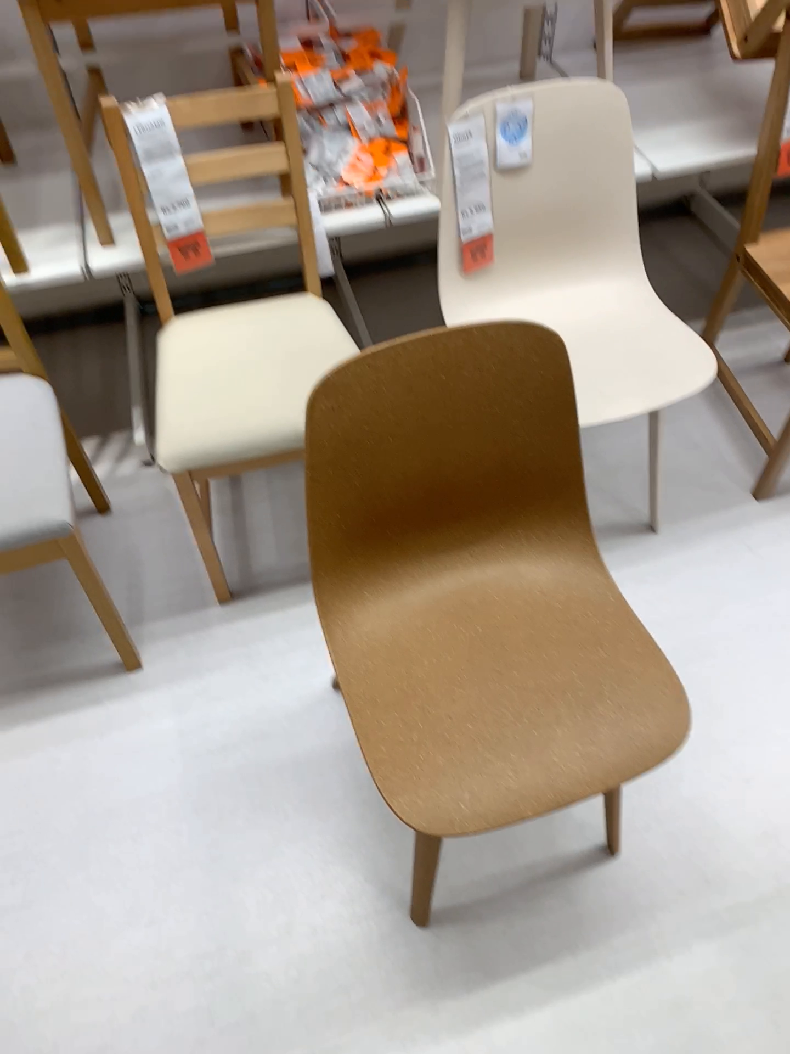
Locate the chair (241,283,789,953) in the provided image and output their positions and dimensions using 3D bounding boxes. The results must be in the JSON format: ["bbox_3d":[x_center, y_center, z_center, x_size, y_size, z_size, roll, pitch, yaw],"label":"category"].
[{"bbox_3d":[0.115,0.168,1.181,0.460,0.759,0.561,-14,52,-10],"label":"chair"}]
